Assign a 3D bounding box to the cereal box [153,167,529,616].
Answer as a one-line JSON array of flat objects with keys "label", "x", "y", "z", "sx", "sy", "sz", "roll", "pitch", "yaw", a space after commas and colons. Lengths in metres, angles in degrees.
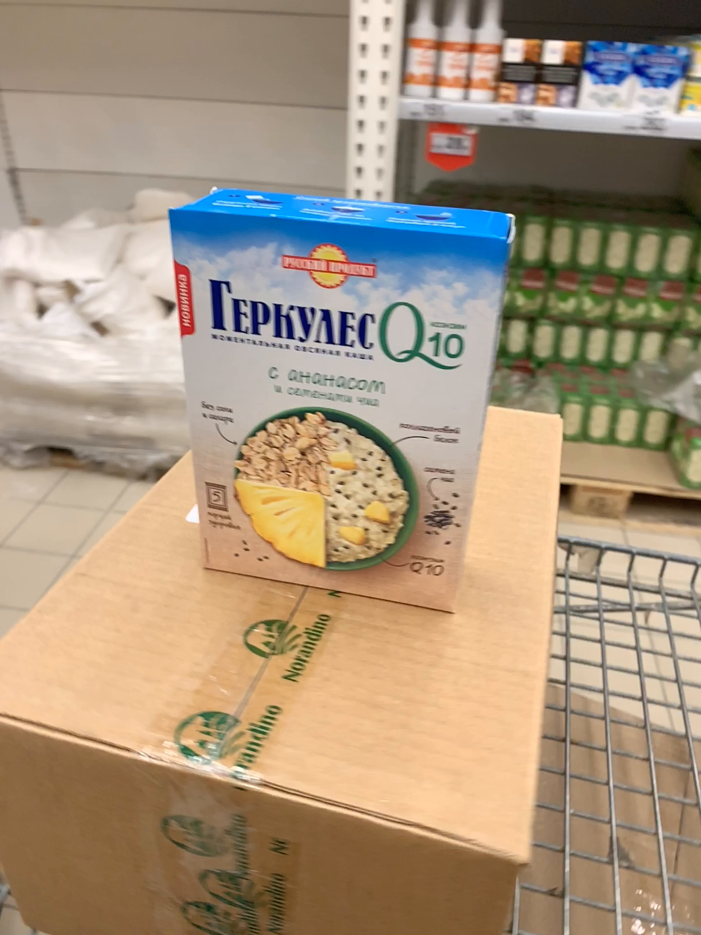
[{"label": "cereal box", "x": -0.005, "y": -0.032, "z": 0.356, "sx": 0.150, "sy": 0.199, "sz": 0.050, "roll": 8, "pitch": 32, "yaw": 10}]
